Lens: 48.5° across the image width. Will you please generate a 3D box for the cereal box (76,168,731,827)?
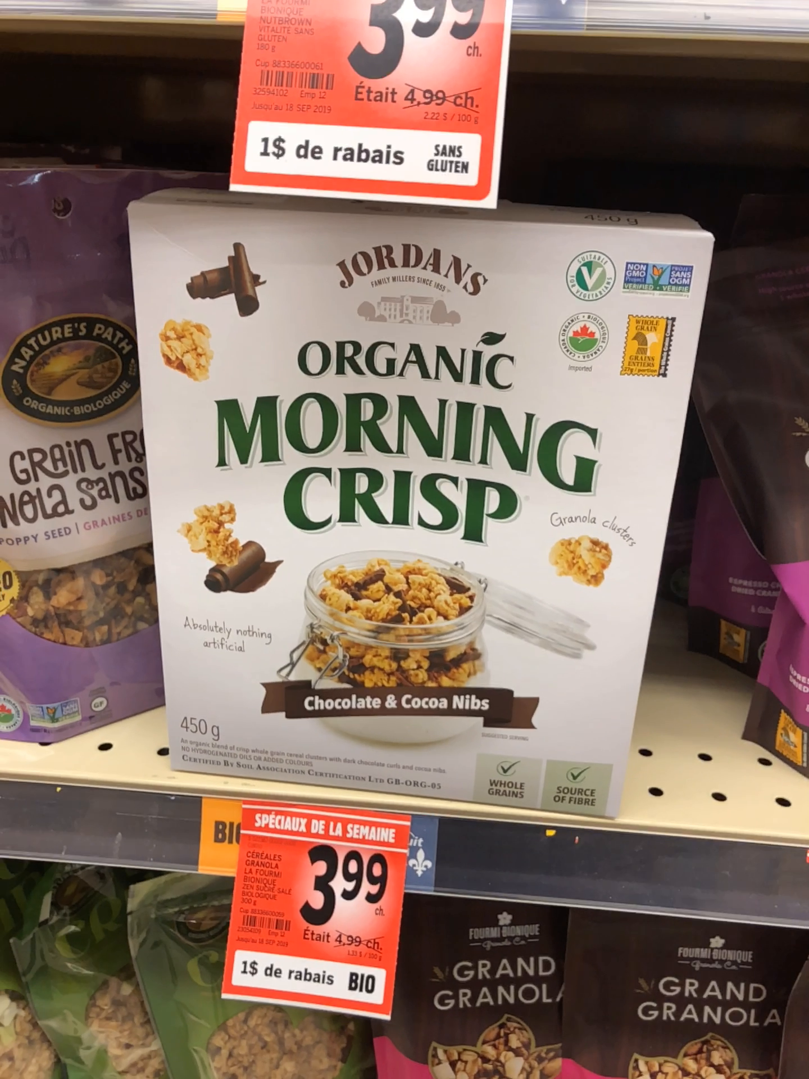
[{"bbox_3d":[-0.005,-0.011,0.310,0.180,0.209,0.050,5,24,5],"label":"cereal box"}]
